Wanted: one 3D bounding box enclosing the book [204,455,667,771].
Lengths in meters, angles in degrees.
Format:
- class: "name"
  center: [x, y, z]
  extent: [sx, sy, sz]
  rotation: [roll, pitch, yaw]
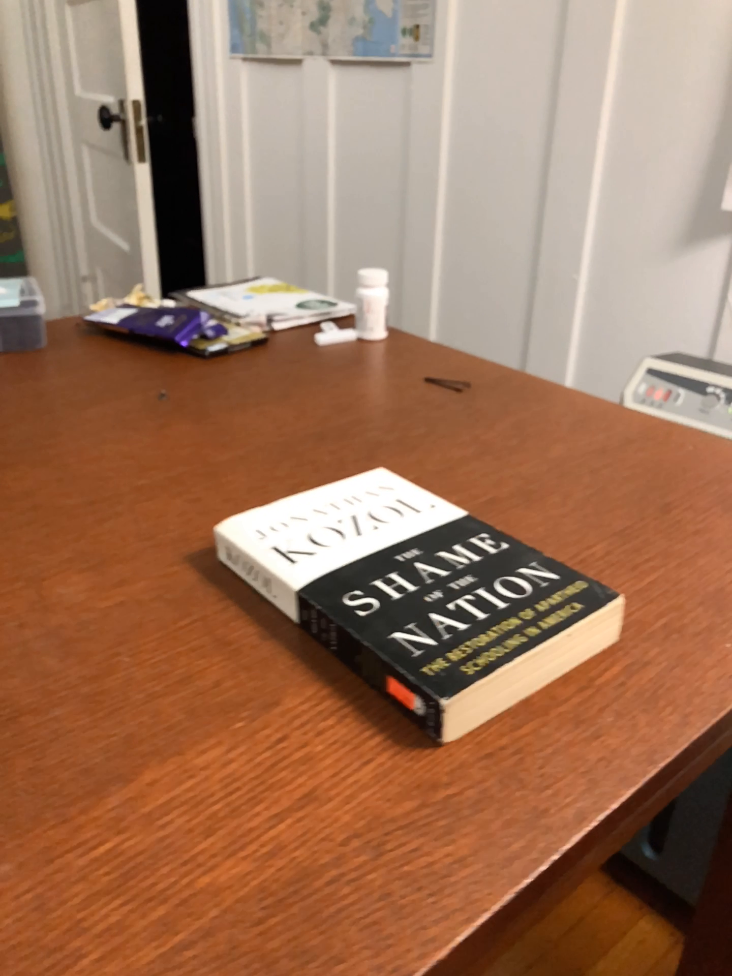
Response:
- class: "book"
  center: [0.031, 0.052, 0.490]
  extent: [0.160, 0.030, 0.231]
  rotation: [-19, 33, -35]
